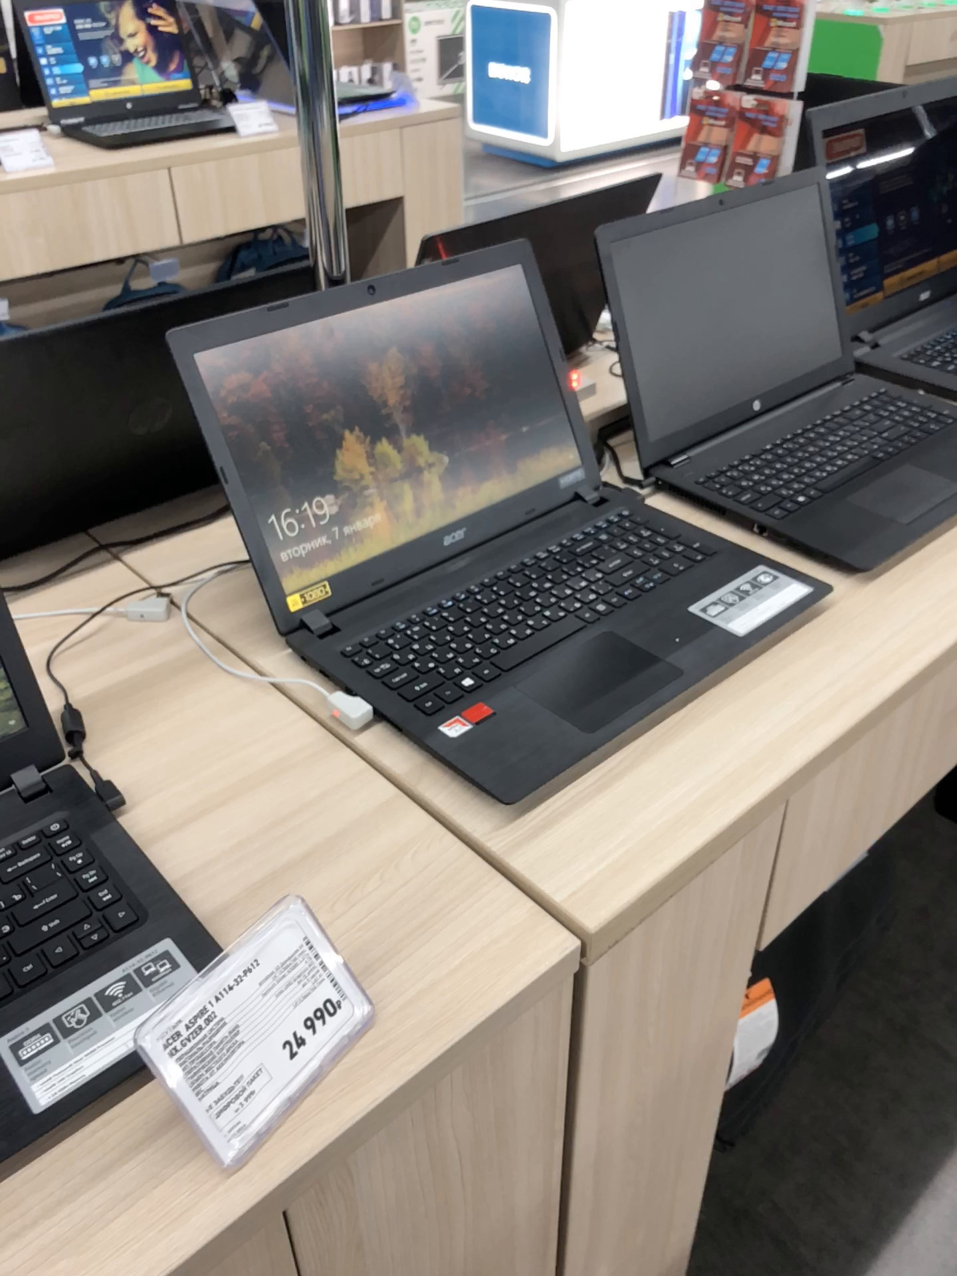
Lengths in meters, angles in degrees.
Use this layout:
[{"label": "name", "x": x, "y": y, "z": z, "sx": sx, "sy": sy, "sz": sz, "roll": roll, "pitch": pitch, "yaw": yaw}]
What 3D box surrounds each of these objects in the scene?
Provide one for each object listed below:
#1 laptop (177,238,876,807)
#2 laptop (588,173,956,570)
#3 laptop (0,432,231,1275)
[{"label": "laptop", "x": 0.034, "y": -0.134, "z": 0.831, "sx": 0.374, "sy": 0.208, "sz": 0.368, "roll": -28, "pitch": 44, "yaw": -33}, {"label": "laptop", "x": 0.355, "y": -0.294, "z": 1.047, "sx": 0.378, "sy": 0.212, "sz": 0.339, "roll": -26, "pitch": 42, "yaw": -32}, {"label": "laptop", "x": -0.346, "y": 0.092, "z": 0.511, "sx": 0.307, "sy": 0.214, "sz": 0.301, "roll": -27, "pitch": 44, "yaw": -33}]
